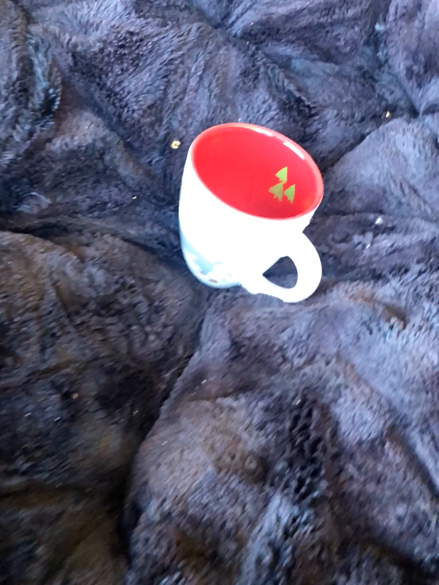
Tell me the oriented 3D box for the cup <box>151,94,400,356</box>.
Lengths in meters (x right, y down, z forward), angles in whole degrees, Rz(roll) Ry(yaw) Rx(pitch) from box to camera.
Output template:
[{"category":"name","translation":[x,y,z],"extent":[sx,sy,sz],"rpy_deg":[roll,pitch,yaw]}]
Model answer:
[{"category":"cup","translation":[0.032,-0.053,0.379],"extent":[0.100,0.110,0.140],"rpy_deg":[-30,67,-28]}]
